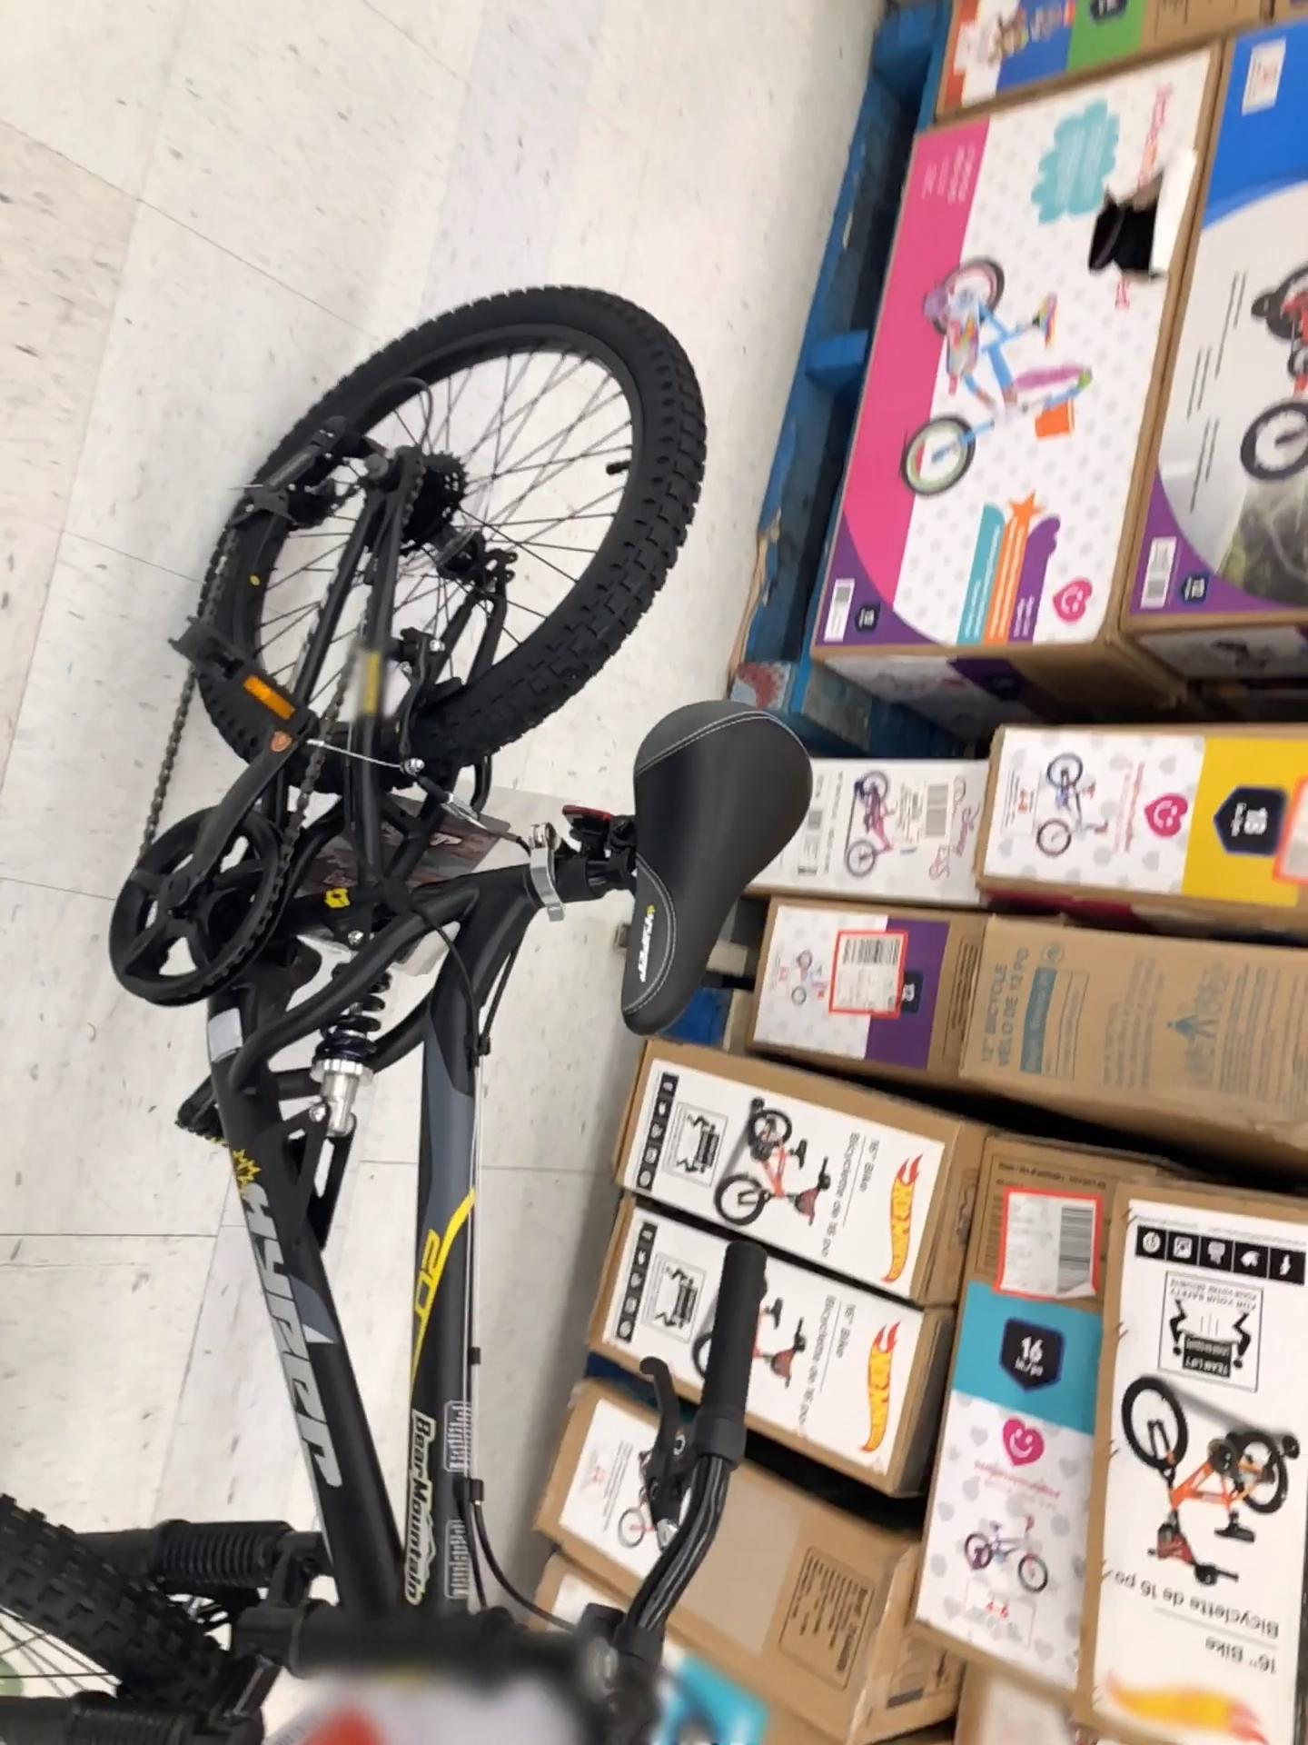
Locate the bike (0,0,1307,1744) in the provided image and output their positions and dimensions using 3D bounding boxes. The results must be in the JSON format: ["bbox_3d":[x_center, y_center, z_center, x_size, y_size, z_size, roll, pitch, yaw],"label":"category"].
[{"bbox_3d":[0.001,0.178,1.125,0.525,0.848,1.258,25,74,-47],"label":"bike"}]
